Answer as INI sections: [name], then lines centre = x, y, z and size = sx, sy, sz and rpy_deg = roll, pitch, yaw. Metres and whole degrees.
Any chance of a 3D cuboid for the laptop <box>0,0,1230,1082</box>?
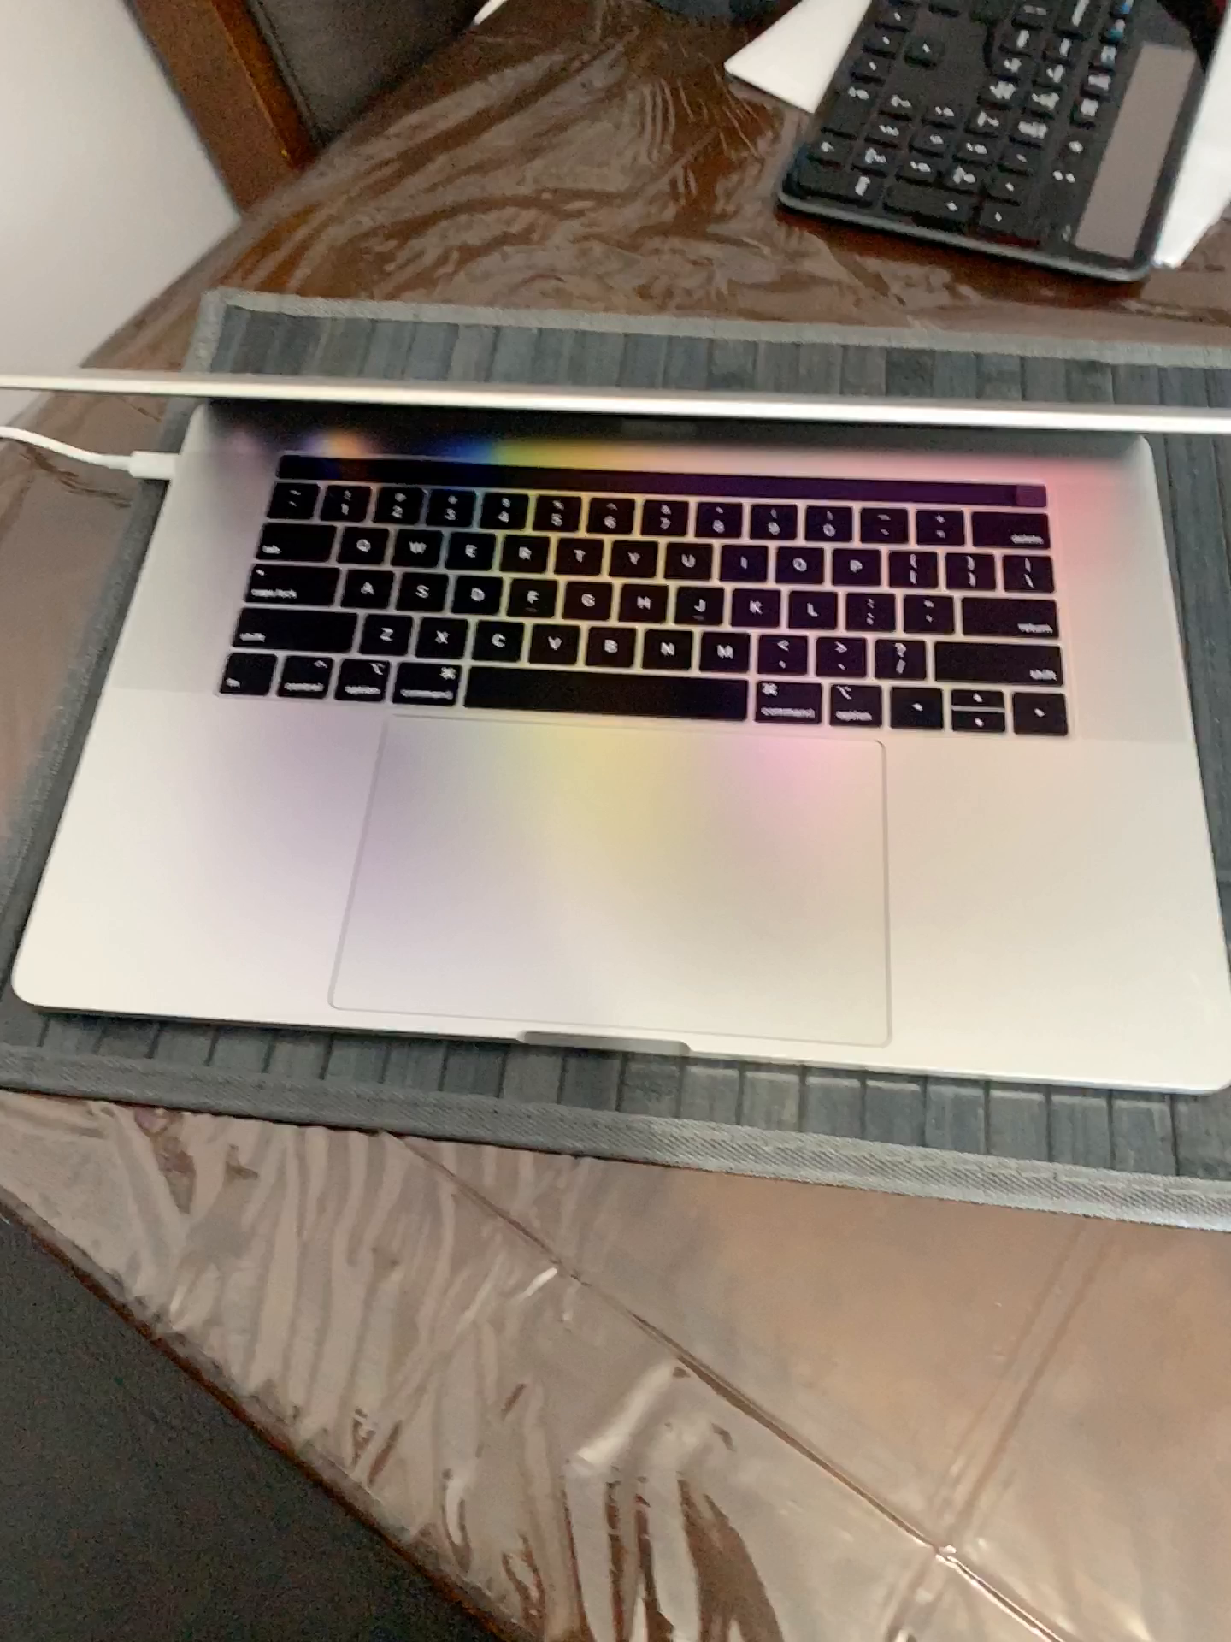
[laptop]
centre = 0.005, -0.081, 0.333
size = 0.339, 0.164, 0.234
rpy_deg = 4, 62, 4
